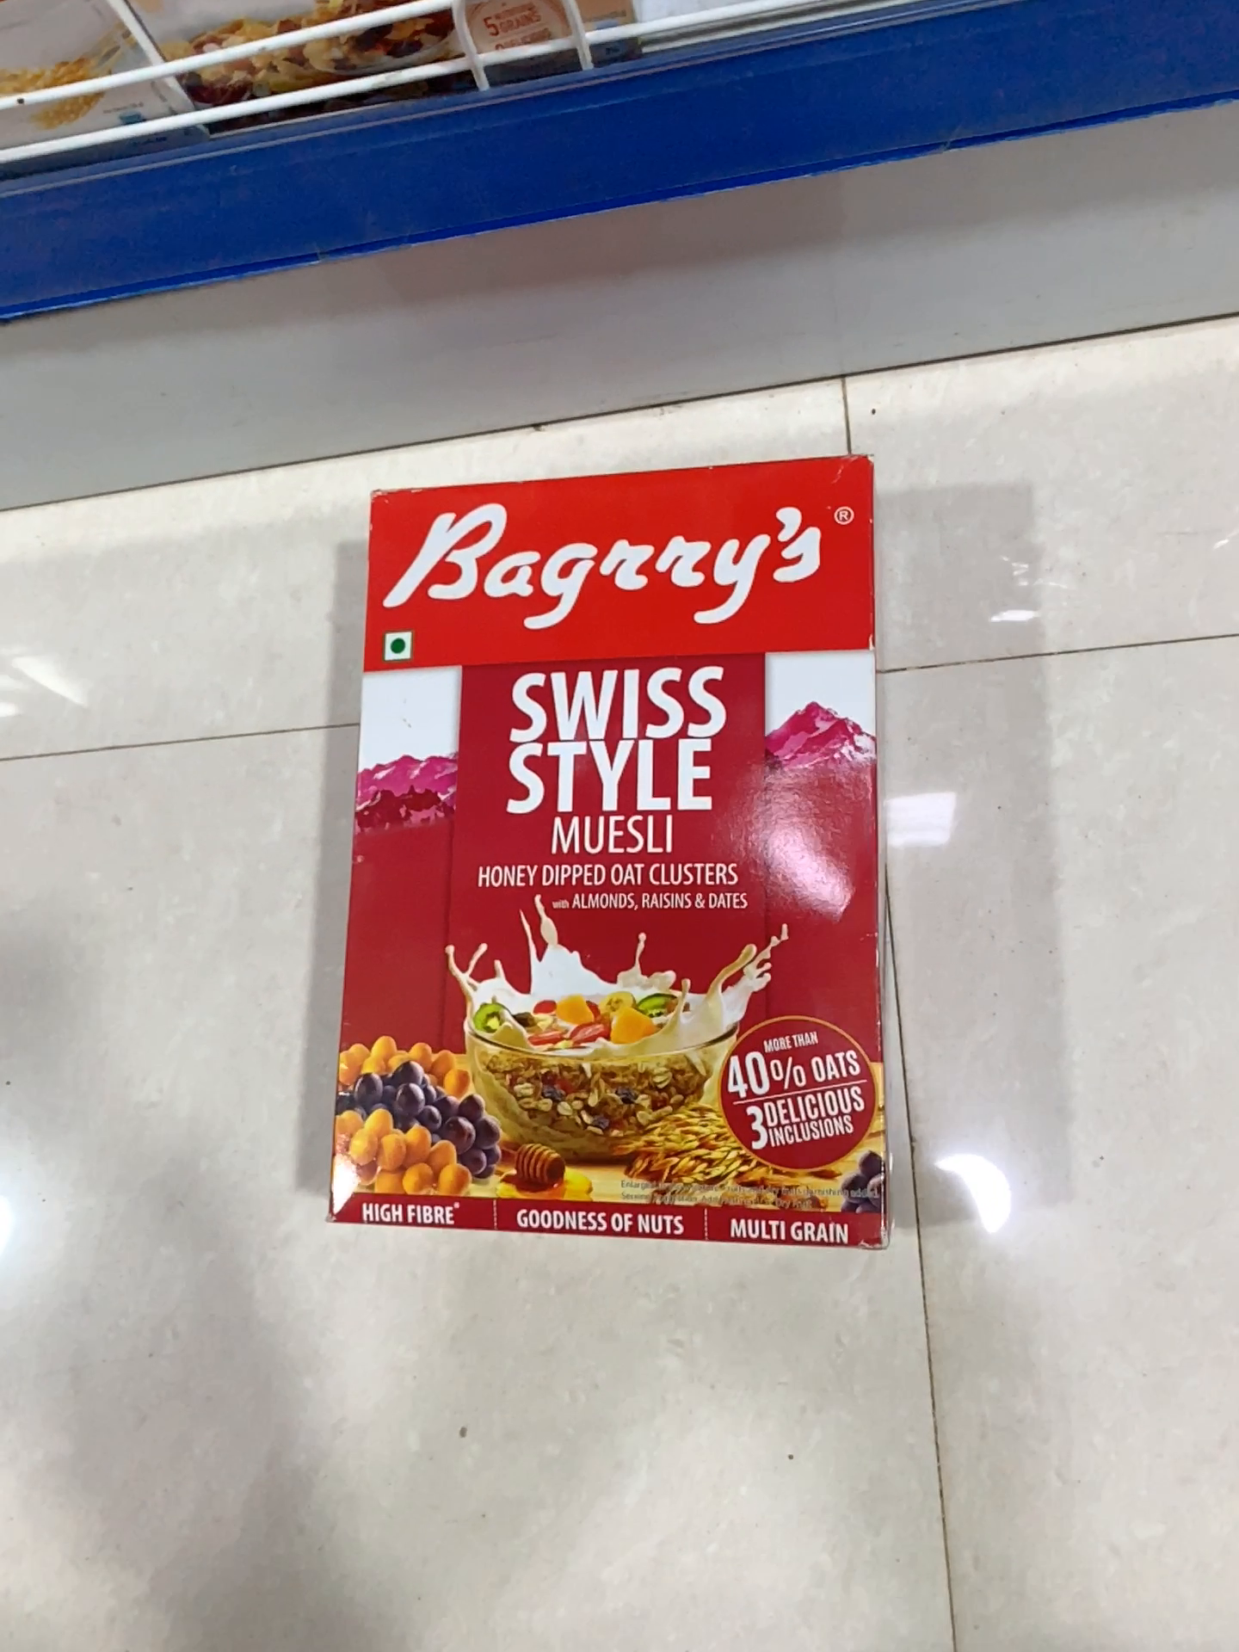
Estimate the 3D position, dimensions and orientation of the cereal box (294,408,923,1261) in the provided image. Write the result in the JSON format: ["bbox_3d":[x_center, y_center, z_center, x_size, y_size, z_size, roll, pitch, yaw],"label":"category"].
[{"bbox_3d":[0.003,0.003,0.439,0.190,0.080,0.260,-1,79,12],"label":"cereal box"}]
